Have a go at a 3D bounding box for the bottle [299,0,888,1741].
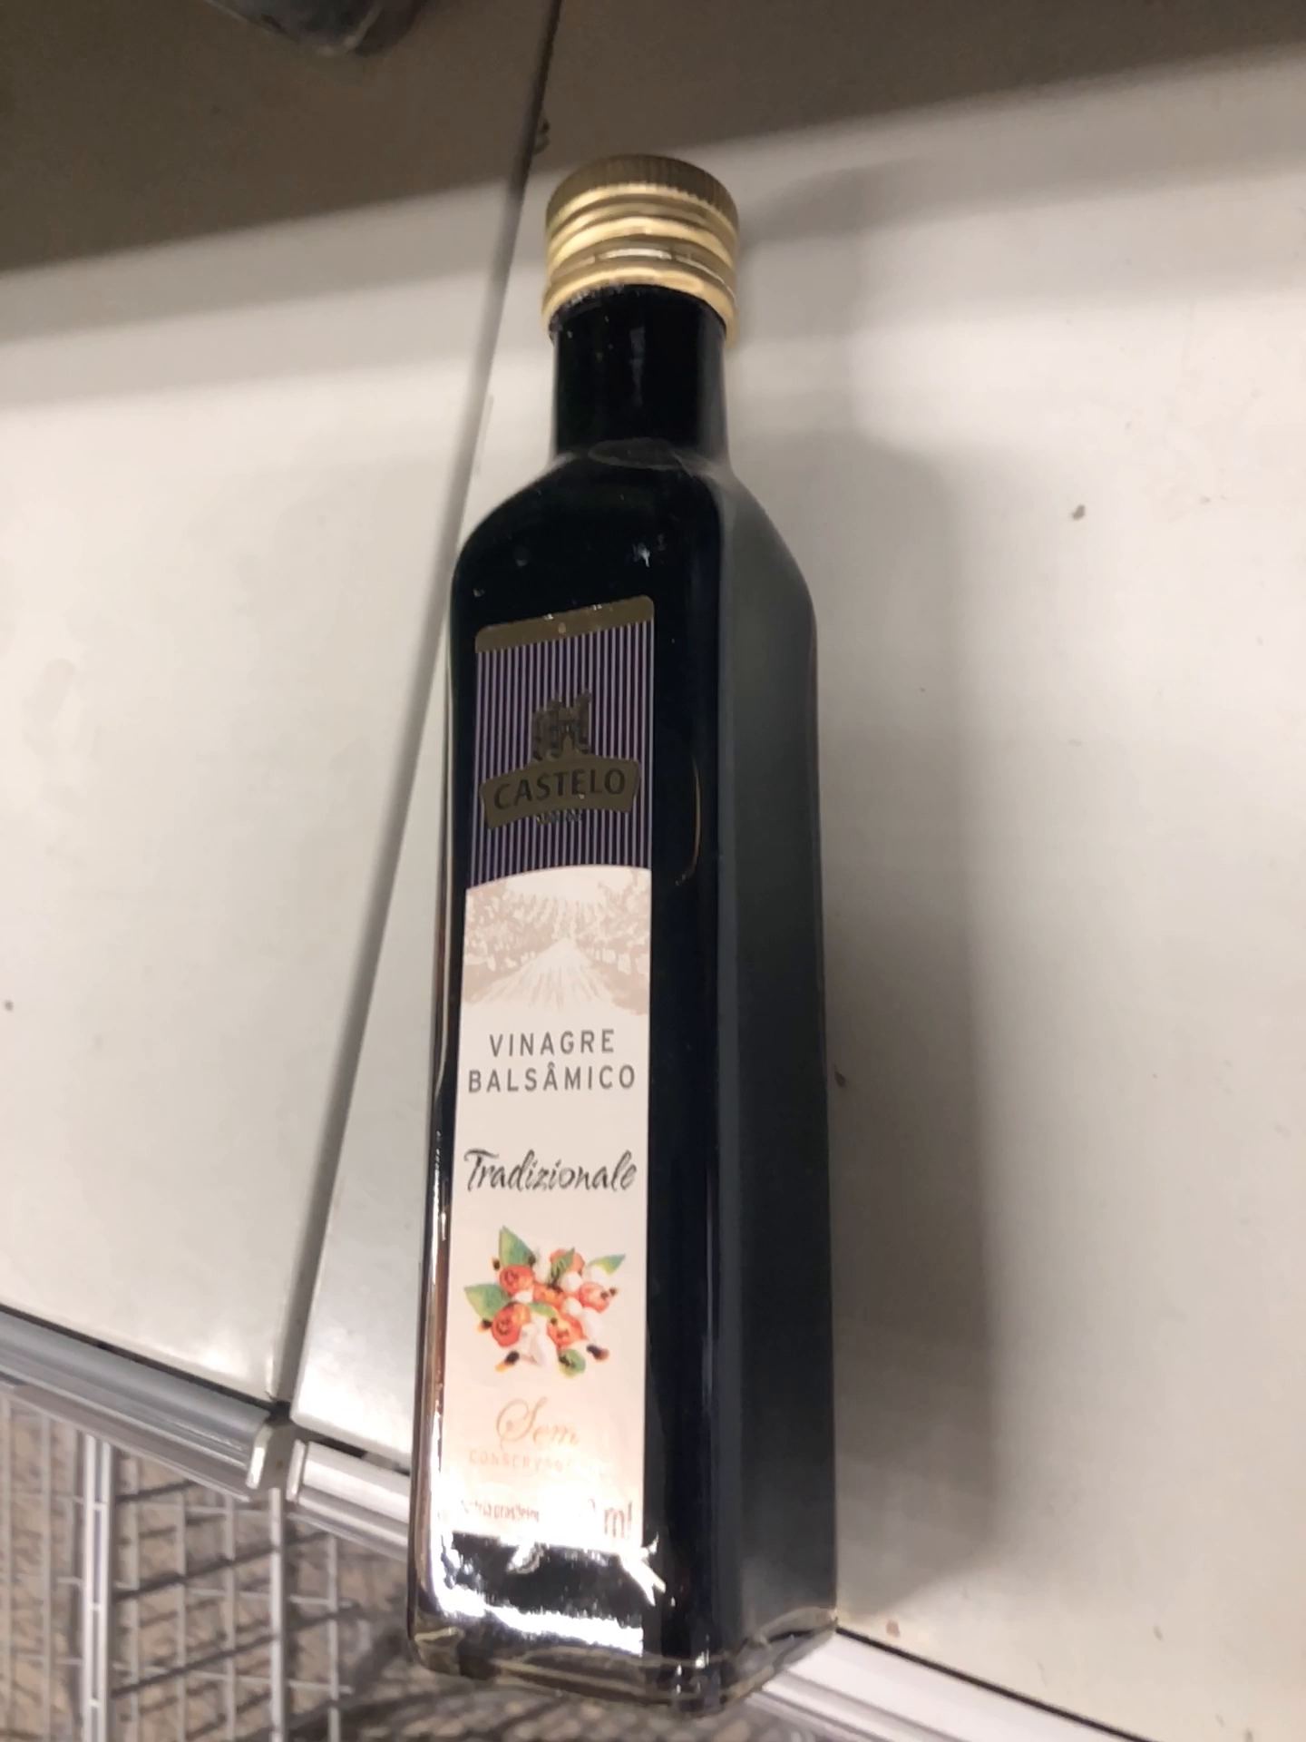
[{"bbox_3d":[-0.003,-0.004,0.223,0.060,0.060,0.250,-4,79,26],"label":"bottle"}]
